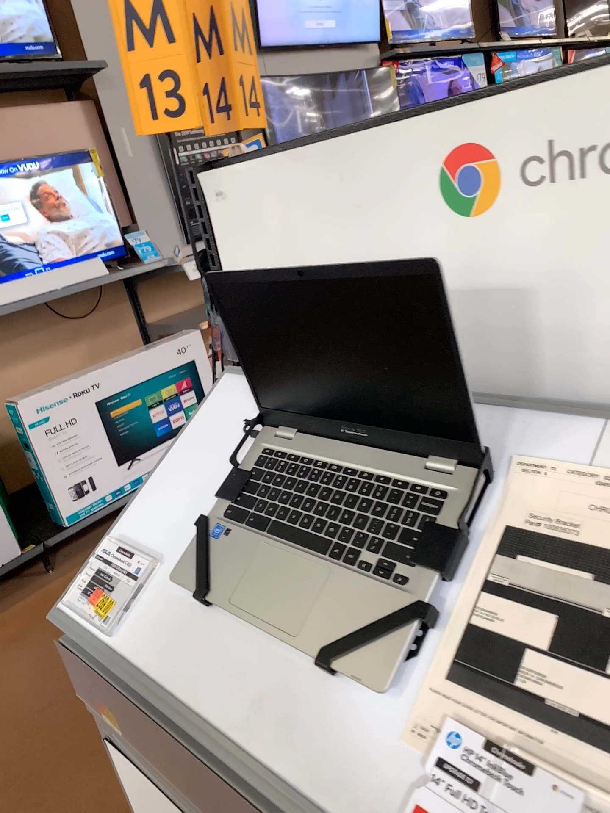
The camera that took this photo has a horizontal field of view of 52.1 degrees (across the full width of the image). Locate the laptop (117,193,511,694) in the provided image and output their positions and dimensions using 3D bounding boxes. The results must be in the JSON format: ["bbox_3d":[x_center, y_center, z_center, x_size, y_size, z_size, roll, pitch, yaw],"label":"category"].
[{"bbox_3d":[0.005,0.005,0.642,0.309,0.196,0.292,9,49,44],"label":"laptop"}]
